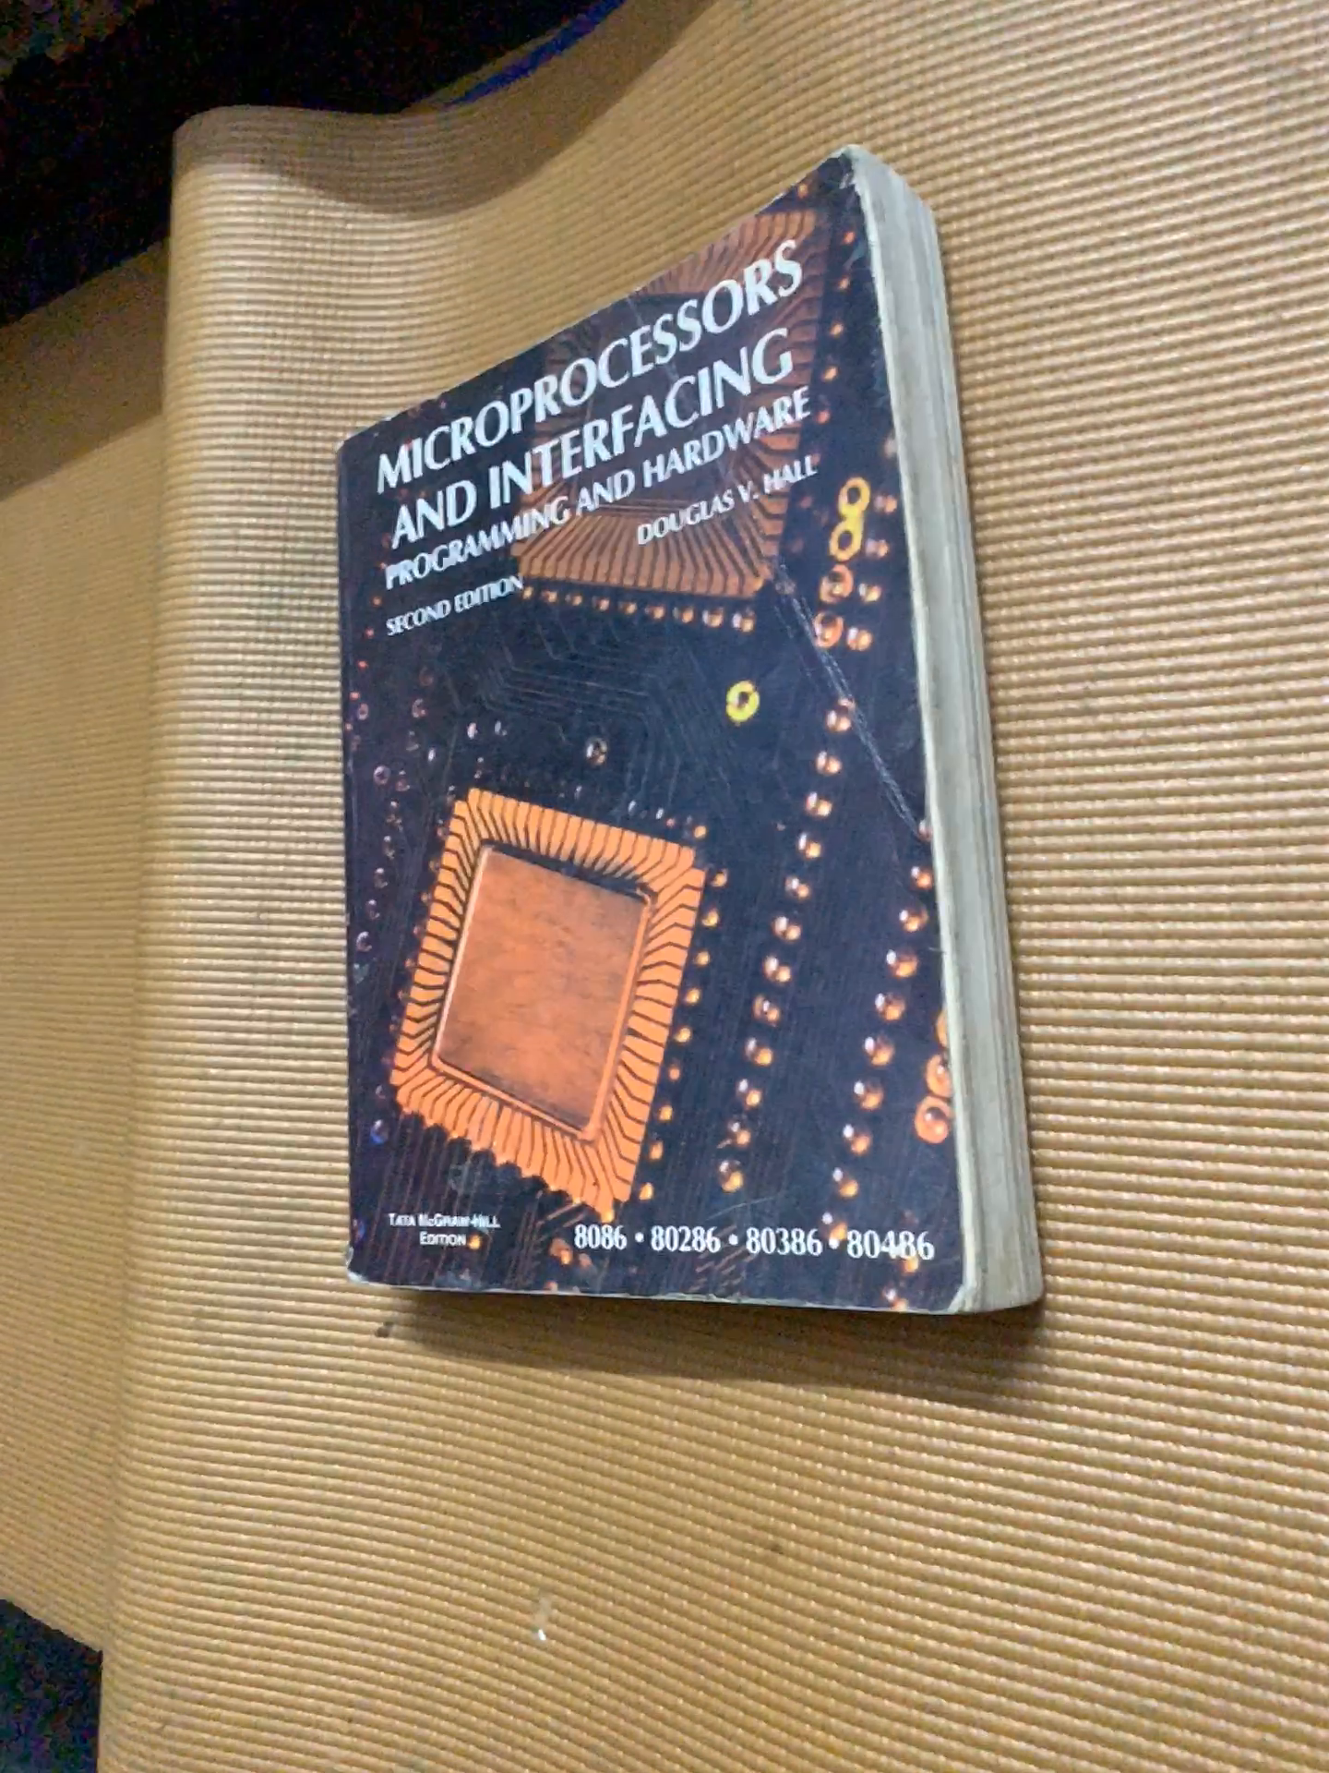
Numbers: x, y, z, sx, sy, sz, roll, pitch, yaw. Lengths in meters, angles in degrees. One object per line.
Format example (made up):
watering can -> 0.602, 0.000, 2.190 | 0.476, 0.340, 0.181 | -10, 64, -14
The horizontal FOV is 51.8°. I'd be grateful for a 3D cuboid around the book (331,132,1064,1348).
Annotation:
book -> -0.011, -0.032, 0.477 | 0.260, 0.060, 0.339 | -10, 79, 40
